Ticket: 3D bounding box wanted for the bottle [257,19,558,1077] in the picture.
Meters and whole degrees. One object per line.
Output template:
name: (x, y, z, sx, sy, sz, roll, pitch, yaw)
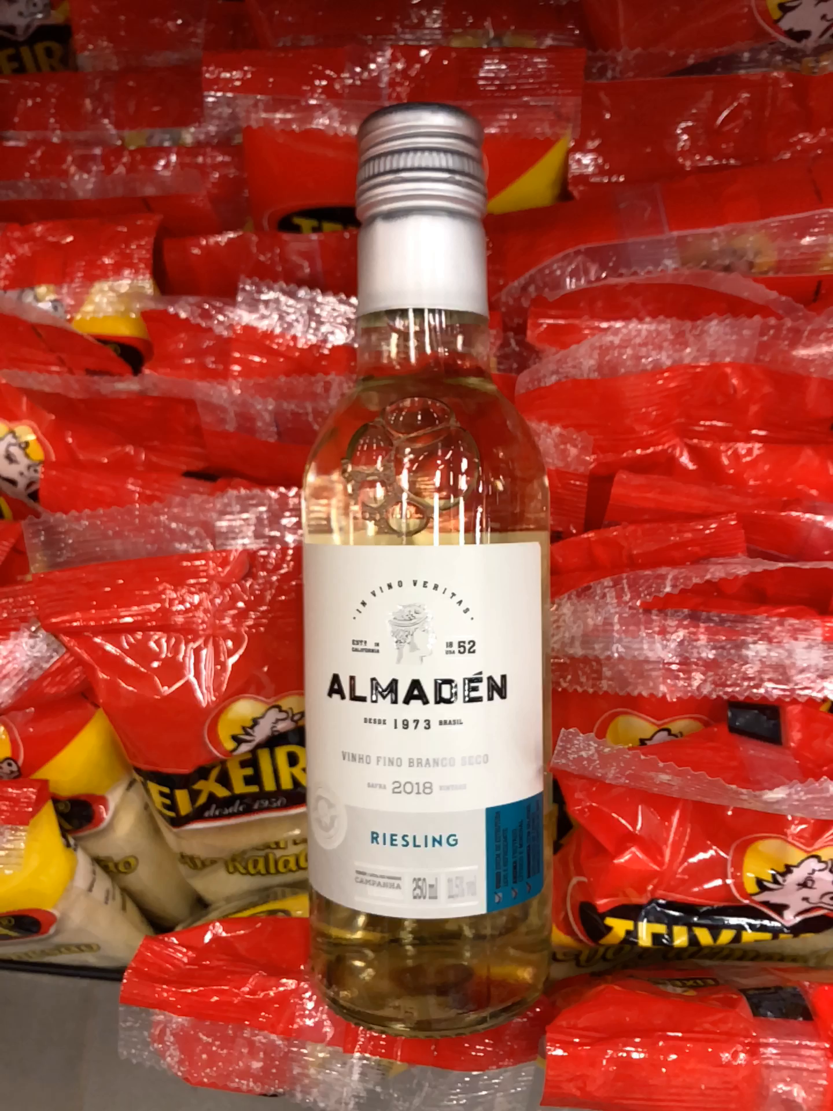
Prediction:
bottle: (0.001, -0.002, 0.211, 0.060, 0.040, 0.210, 0, 89, 9)
